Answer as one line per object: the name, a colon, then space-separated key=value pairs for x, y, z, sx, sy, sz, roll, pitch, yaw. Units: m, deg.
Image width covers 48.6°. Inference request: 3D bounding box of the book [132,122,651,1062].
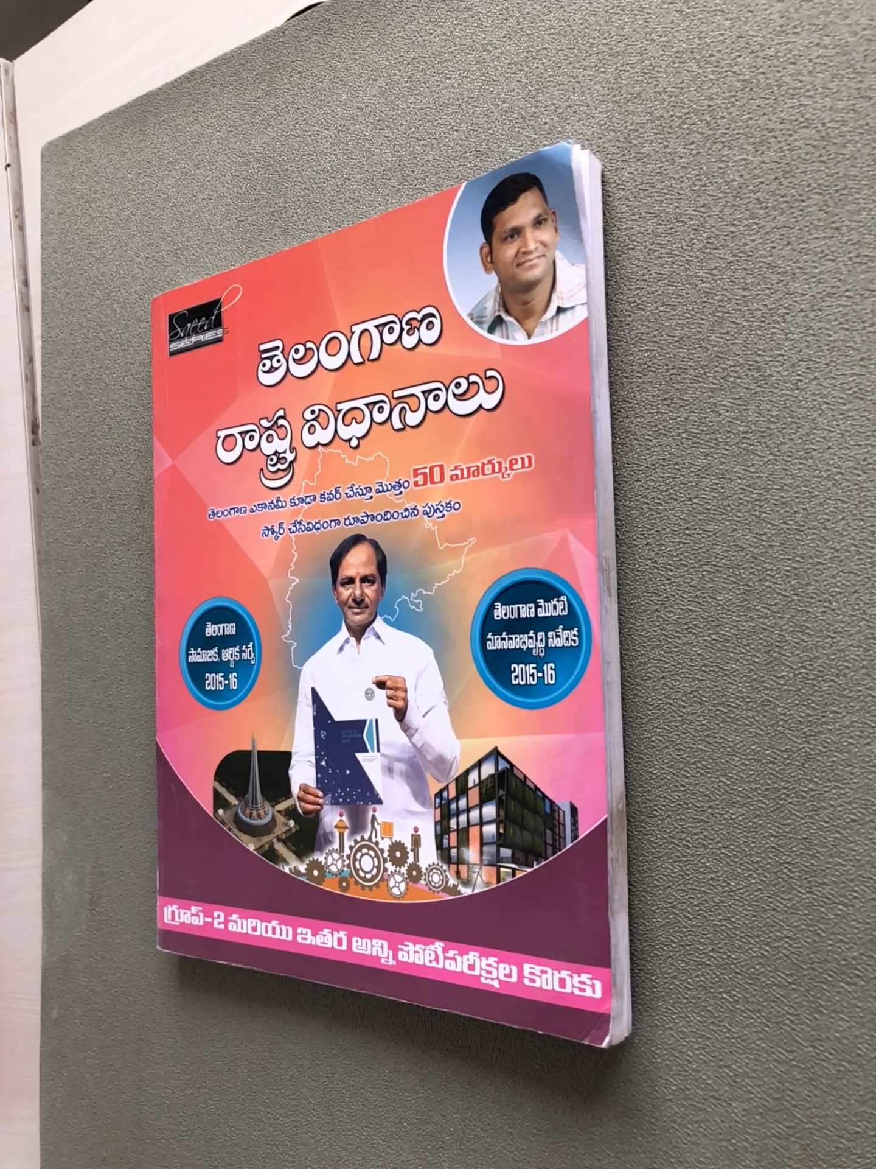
book: x=-0.028 y=0.004 z=0.319 sx=0.181 sy=0.030 sz=0.250 roll=-5 pitch=85 yaw=33
